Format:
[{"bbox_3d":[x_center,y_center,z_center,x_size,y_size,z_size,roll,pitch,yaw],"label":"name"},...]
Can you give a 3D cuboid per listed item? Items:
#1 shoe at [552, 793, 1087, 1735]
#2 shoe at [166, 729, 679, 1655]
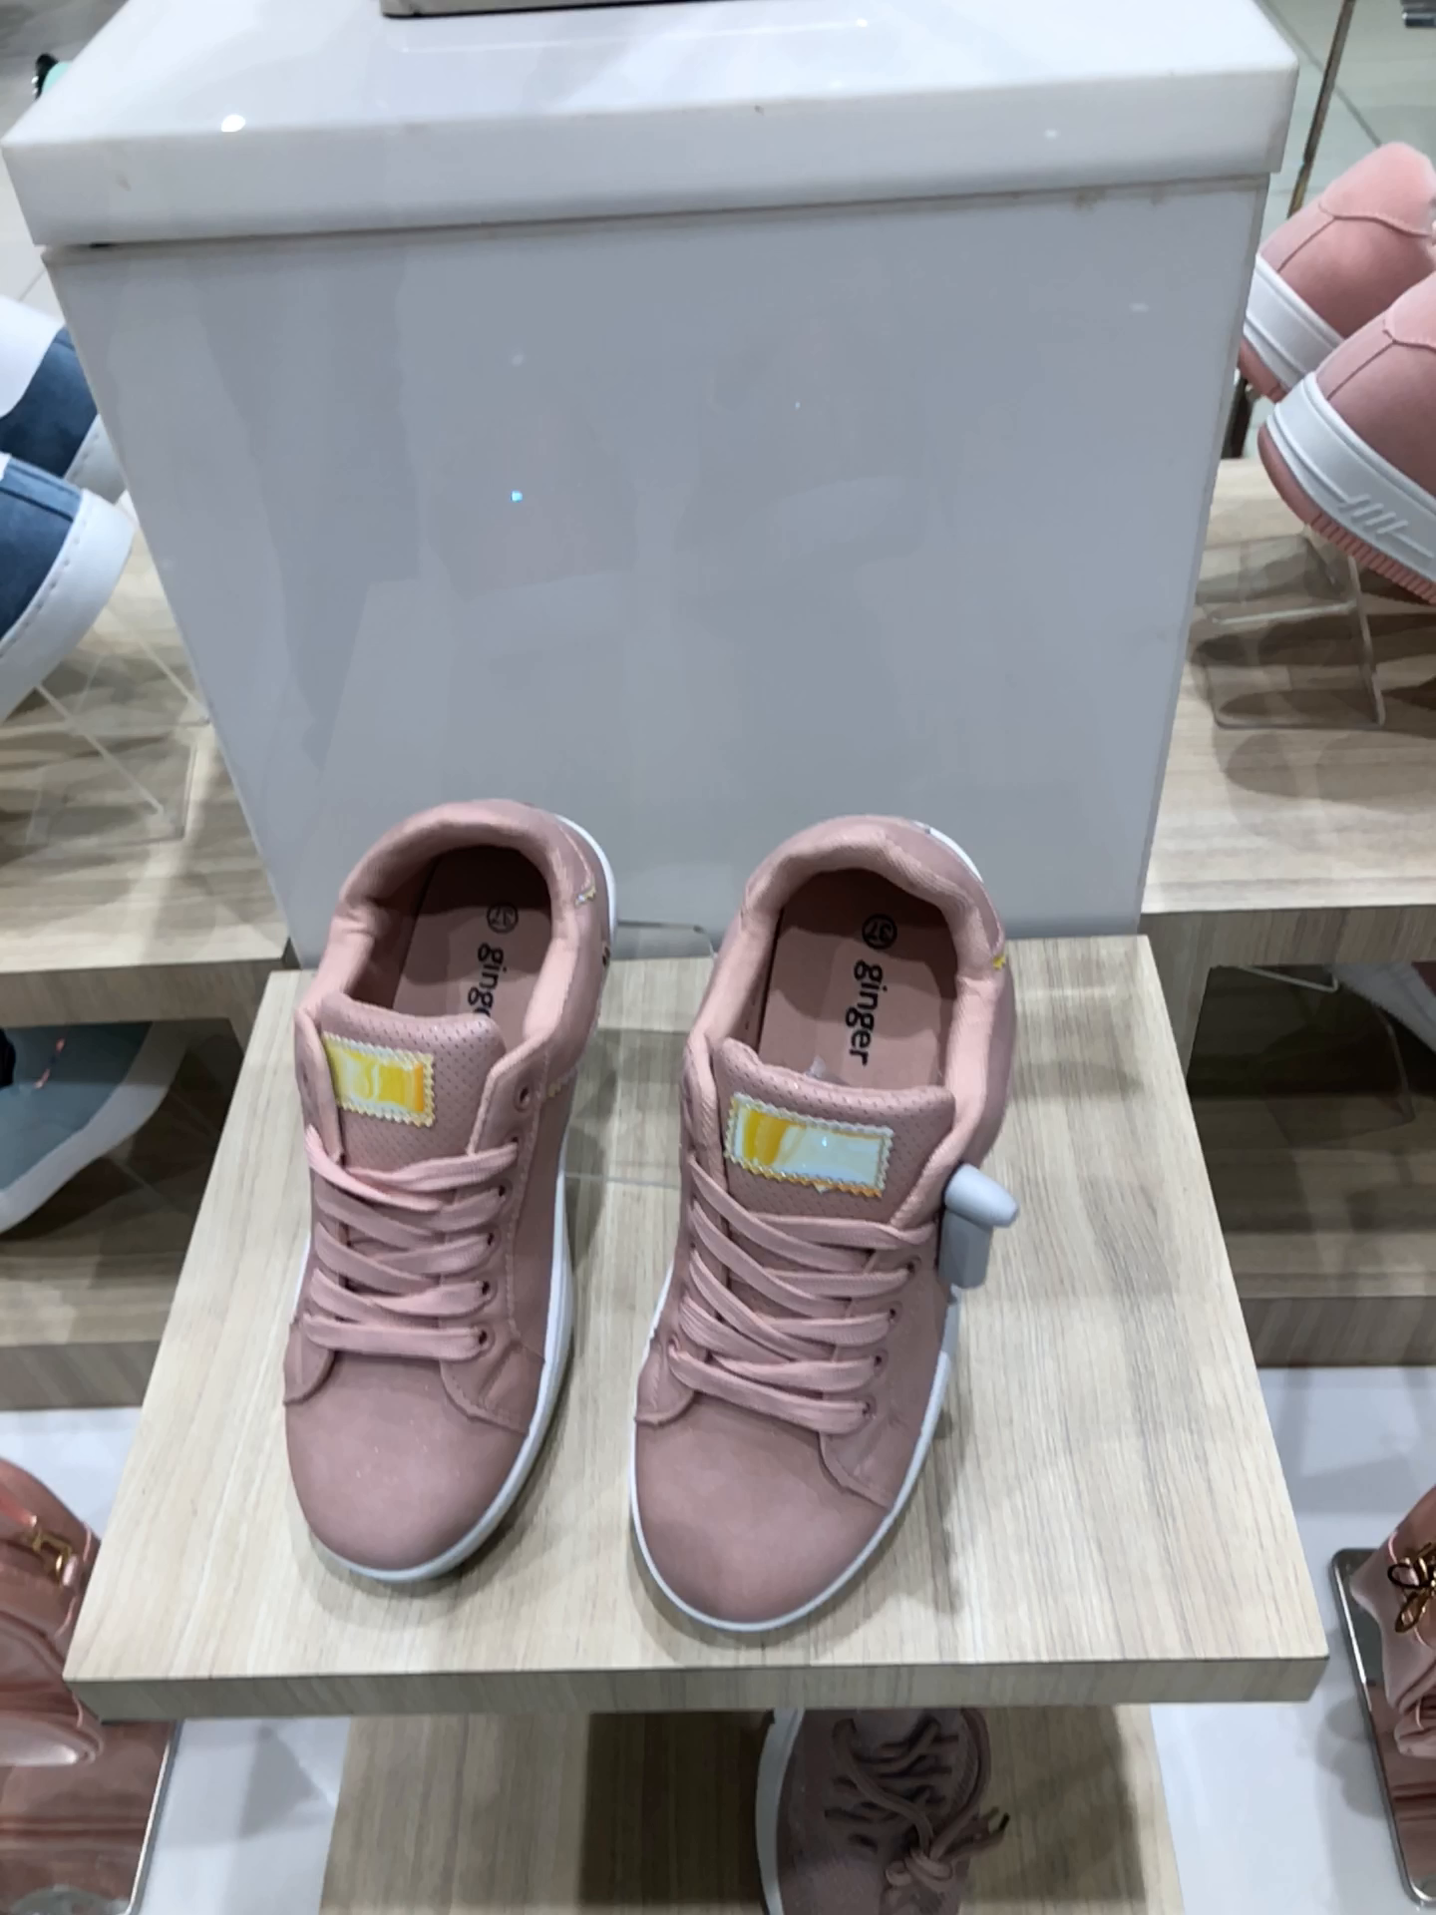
[{"bbox_3d":[0.036,0.084,0.498,0.100,0.250,0.100,12,5,17],"label":"shoe"},{"bbox_3d":[-0.089,0.067,0.519,0.100,0.100,0.260,6,86,13],"label":"shoe"}]
